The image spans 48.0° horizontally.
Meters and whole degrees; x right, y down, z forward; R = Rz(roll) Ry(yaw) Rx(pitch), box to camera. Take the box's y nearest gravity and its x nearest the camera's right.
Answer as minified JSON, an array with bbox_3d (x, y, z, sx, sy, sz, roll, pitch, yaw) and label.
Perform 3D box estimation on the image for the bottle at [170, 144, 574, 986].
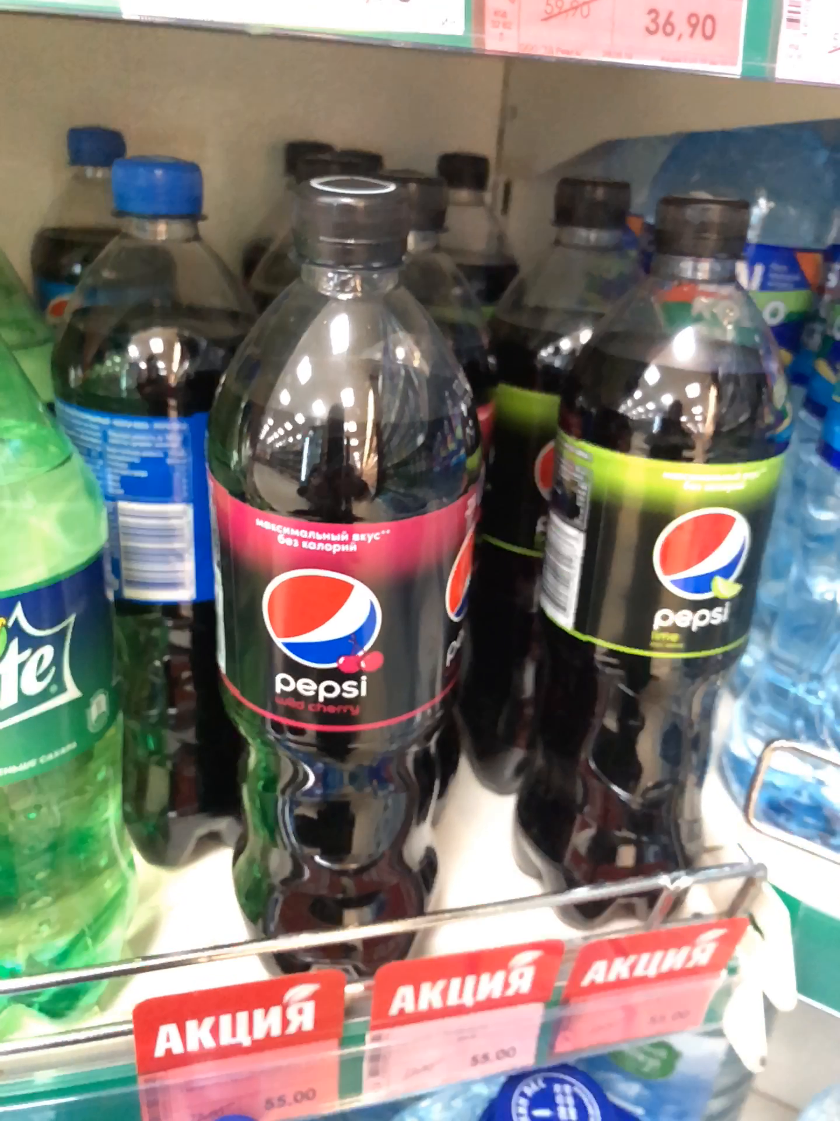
[{"bbox_3d":[-0.021,0.016,0.296,0.086,0.256,0.077,3,30,-4],"label":"bottle"}]

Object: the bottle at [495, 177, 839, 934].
[{"bbox_3d":[0.089,0.008,0.344,0.086,0.263,0.077,3,25,-4],"label":"bottle"}]
